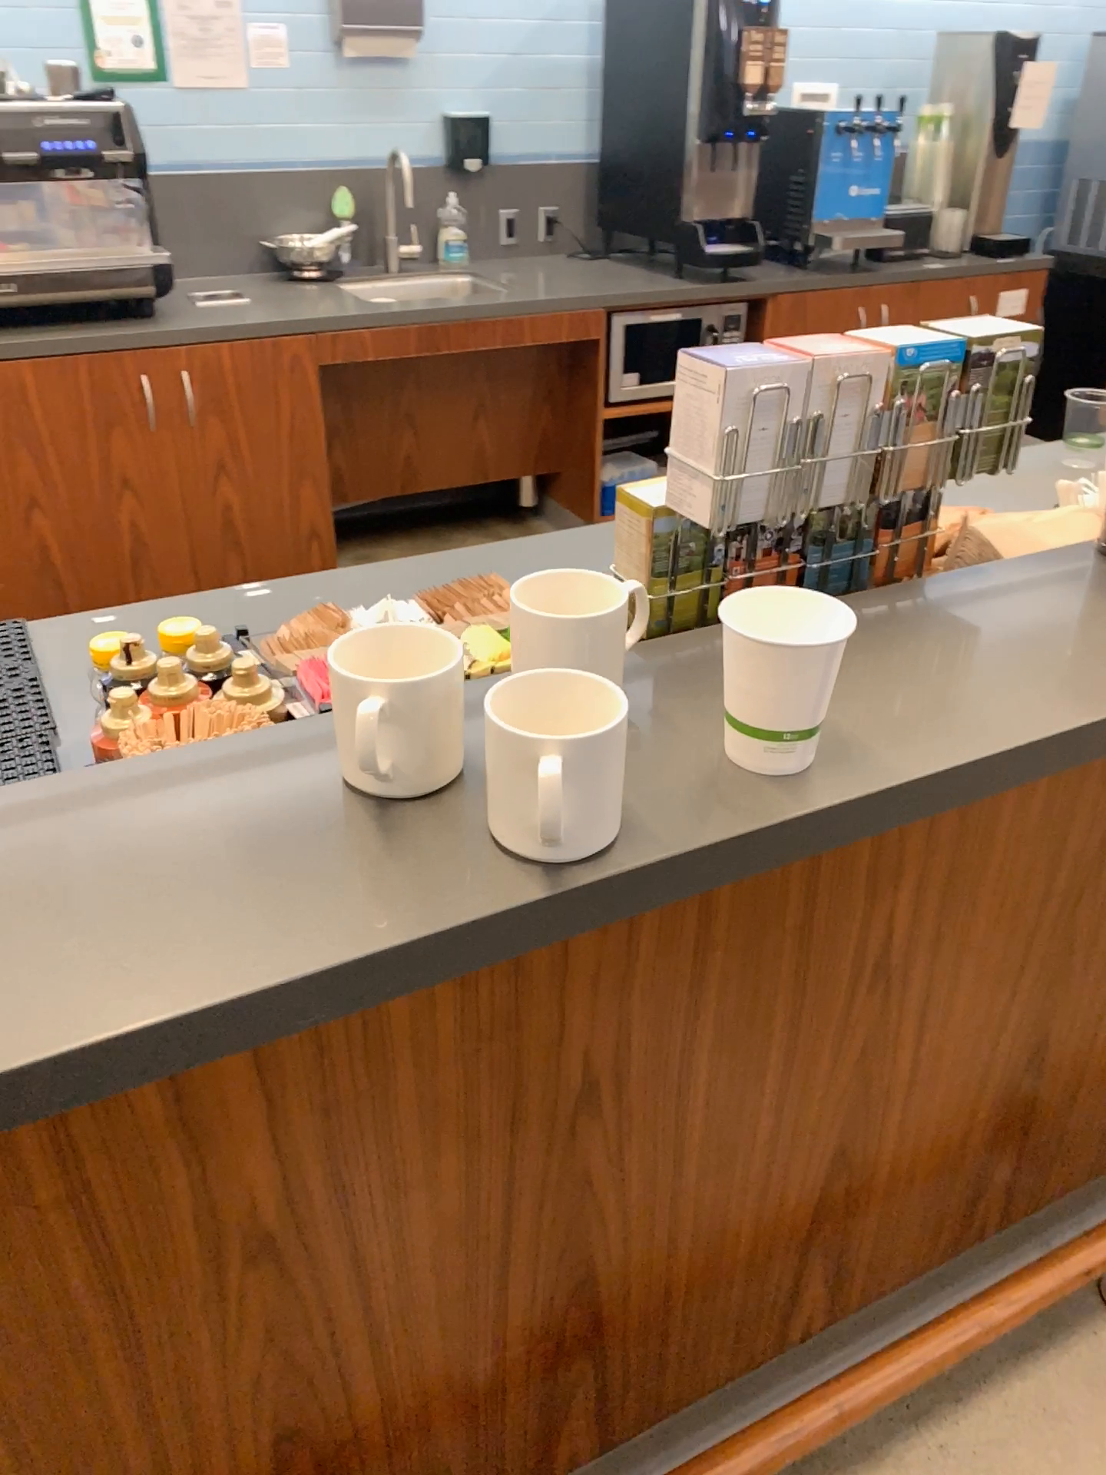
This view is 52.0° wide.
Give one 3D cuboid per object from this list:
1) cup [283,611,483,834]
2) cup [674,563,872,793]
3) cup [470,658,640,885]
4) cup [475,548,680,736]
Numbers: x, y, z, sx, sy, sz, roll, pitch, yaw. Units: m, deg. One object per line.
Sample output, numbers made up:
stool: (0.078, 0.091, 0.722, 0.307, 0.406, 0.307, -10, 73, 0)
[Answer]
cup: (-0.096, -0.012, 0.680, 0.090, 0.080, 0.121, 3, 31, 4)
cup: (0.143, -0.042, 0.740, 0.090, 0.099, 0.100, 16, 34, 23)
cup: (0.002, 0.017, 0.669, 0.090, 0.080, 0.121, 1, 31, 1)
cup: (0.015, -0.071, 0.815, 0.120, 0.089, 0.091, -9, 32, -16)
